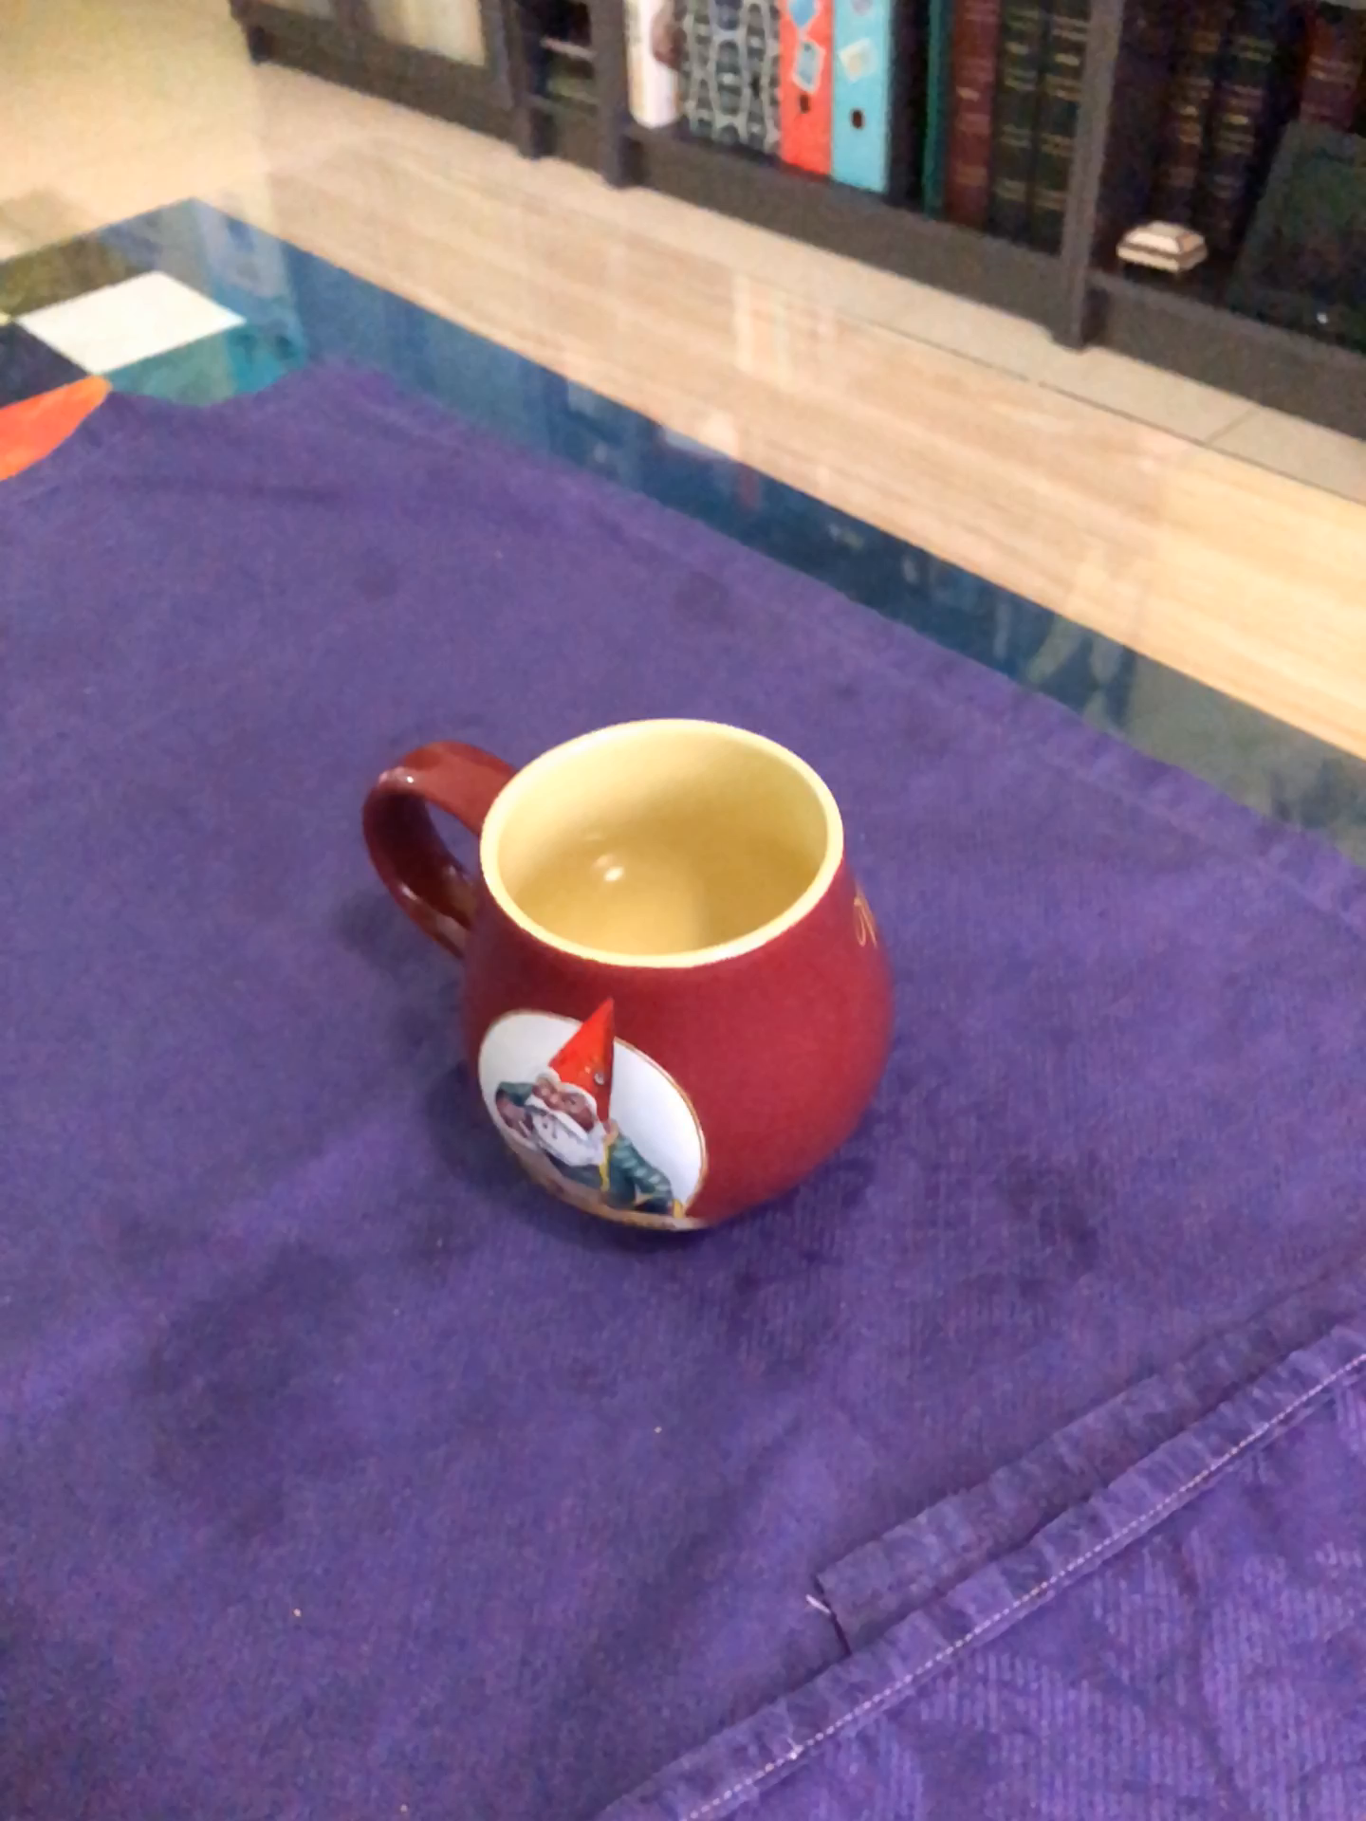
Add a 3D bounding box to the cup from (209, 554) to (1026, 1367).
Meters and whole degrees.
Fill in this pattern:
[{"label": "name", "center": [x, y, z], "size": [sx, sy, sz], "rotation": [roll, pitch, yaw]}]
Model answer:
[{"label": "cup", "center": [-0.010, 0.005, 0.299], "size": [0.120, 0.090, 0.080], "rotation": [26, 52, 28]}]
